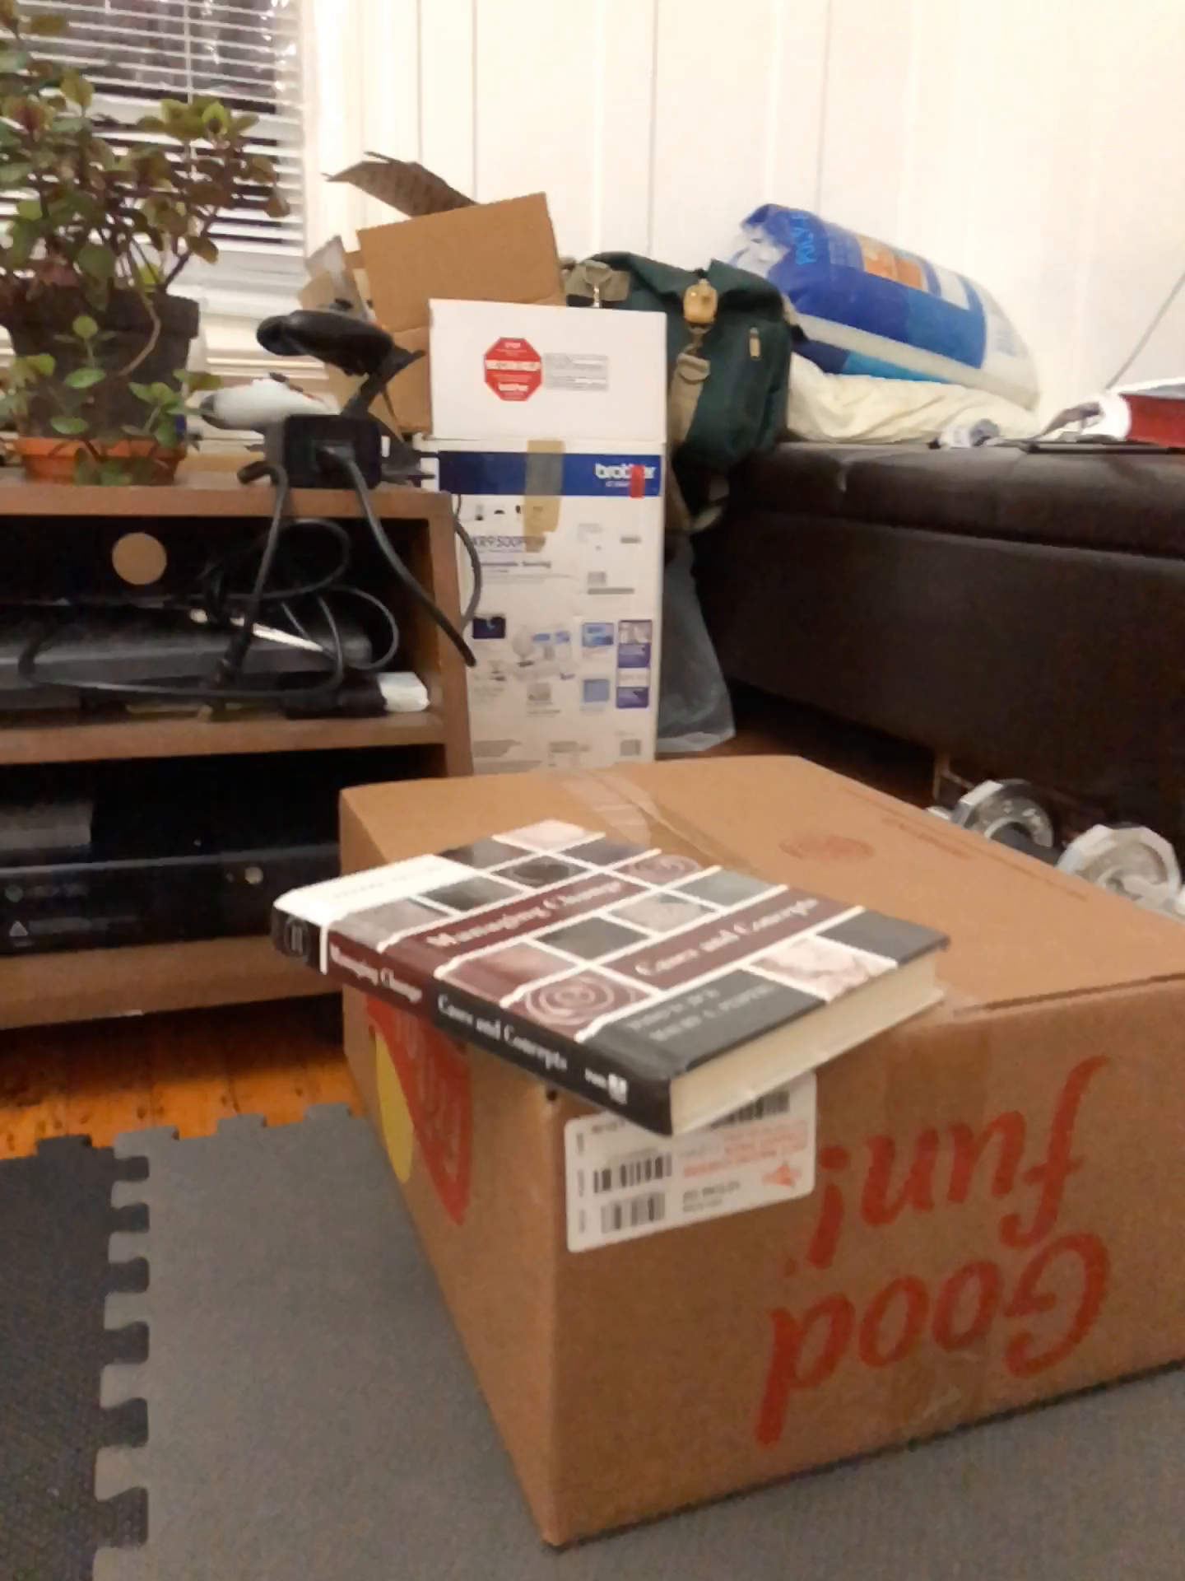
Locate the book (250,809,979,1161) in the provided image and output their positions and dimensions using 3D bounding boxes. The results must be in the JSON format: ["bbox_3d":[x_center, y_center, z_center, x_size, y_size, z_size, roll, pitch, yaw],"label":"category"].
[{"bbox_3d":[0.002,0.062,0.547,0.180,0.030,0.250,-13,20,-43],"label":"book"}]
